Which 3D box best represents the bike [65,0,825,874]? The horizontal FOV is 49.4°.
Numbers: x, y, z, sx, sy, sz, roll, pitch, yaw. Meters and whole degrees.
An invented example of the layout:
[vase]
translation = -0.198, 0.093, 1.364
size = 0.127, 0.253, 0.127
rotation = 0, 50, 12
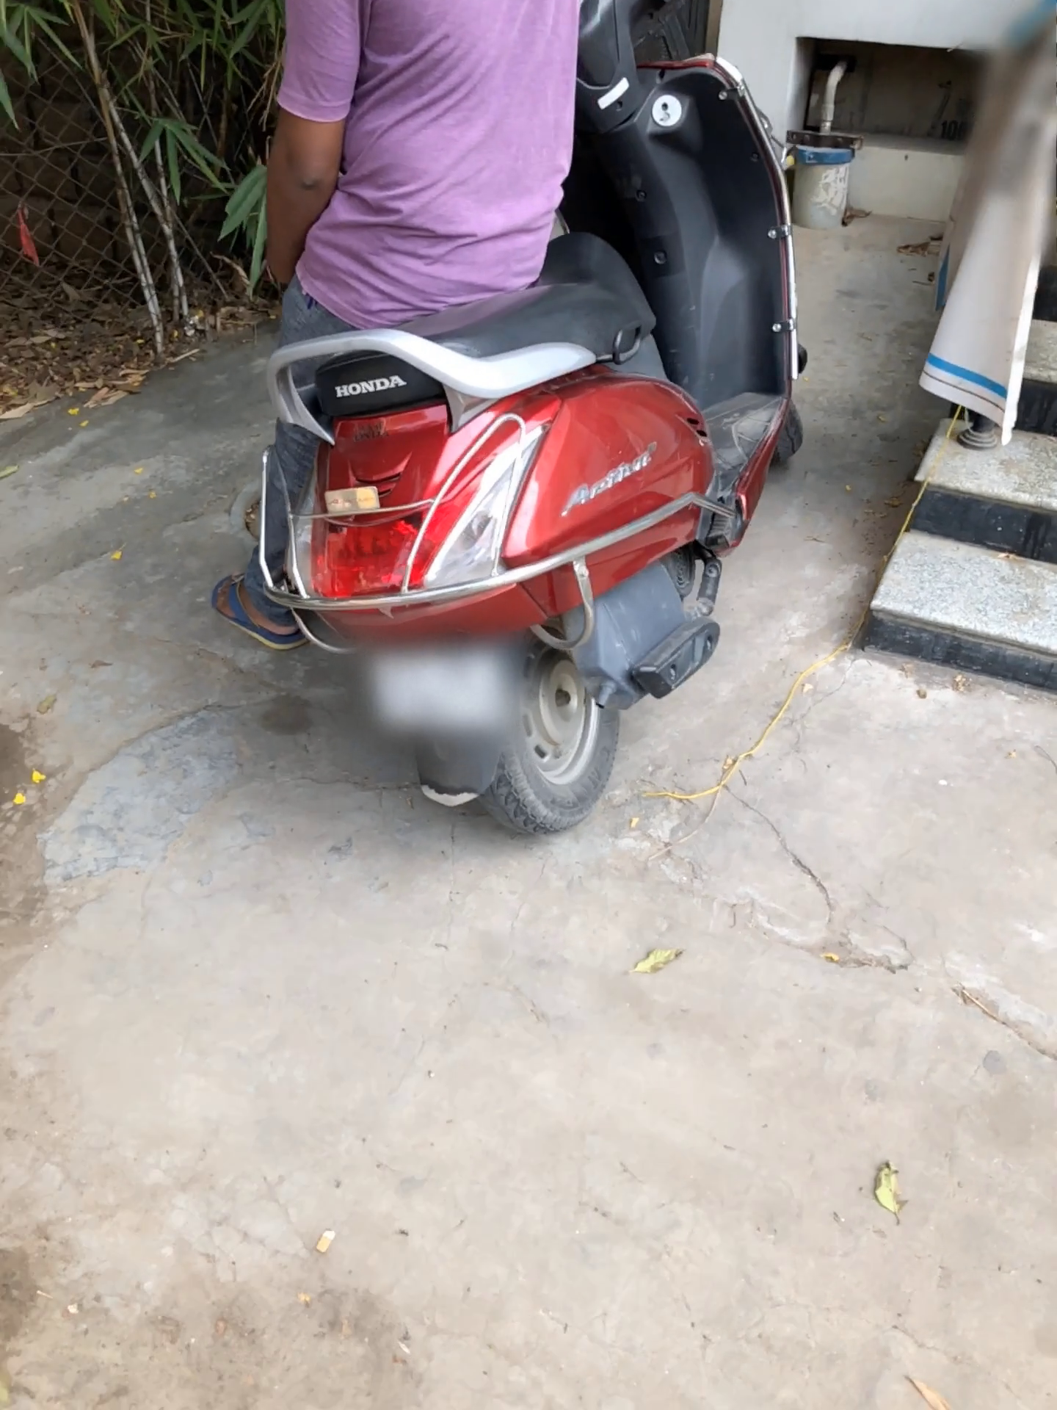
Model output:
[bike]
translation = 0.041, -0.694, 1.919
size = 0.571, 1.056, 1.487
rotation = 10, 40, 14
